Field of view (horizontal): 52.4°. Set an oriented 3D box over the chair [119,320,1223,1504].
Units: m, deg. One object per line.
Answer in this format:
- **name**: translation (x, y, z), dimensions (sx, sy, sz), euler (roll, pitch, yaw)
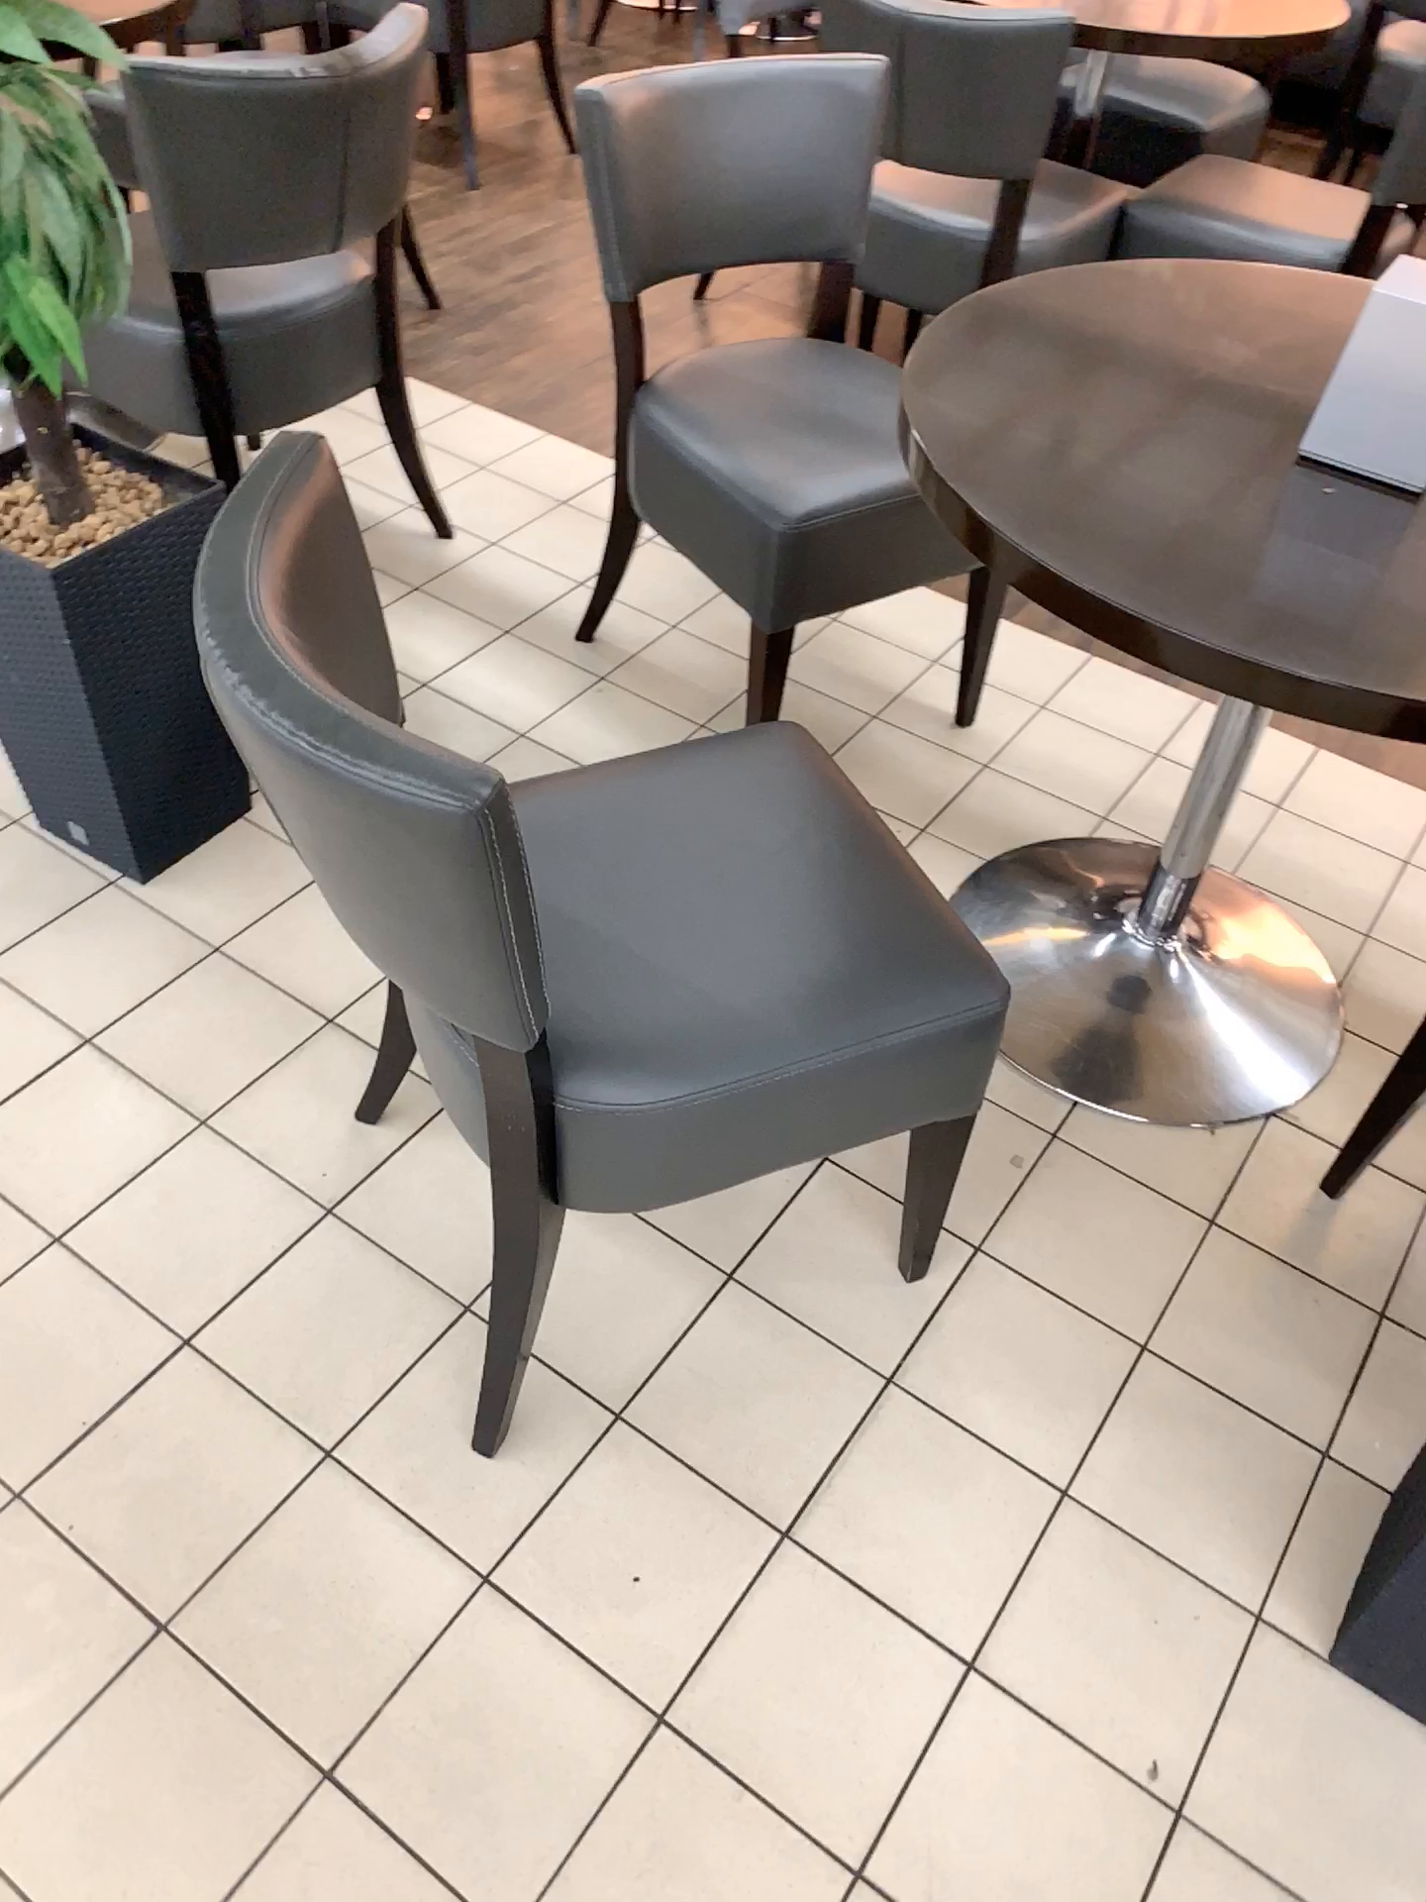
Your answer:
- **chair**: translation (-0.086, -0.038, 1.321), dimensions (0.640, 0.797, 0.552), euler (-14, 47, -19)
